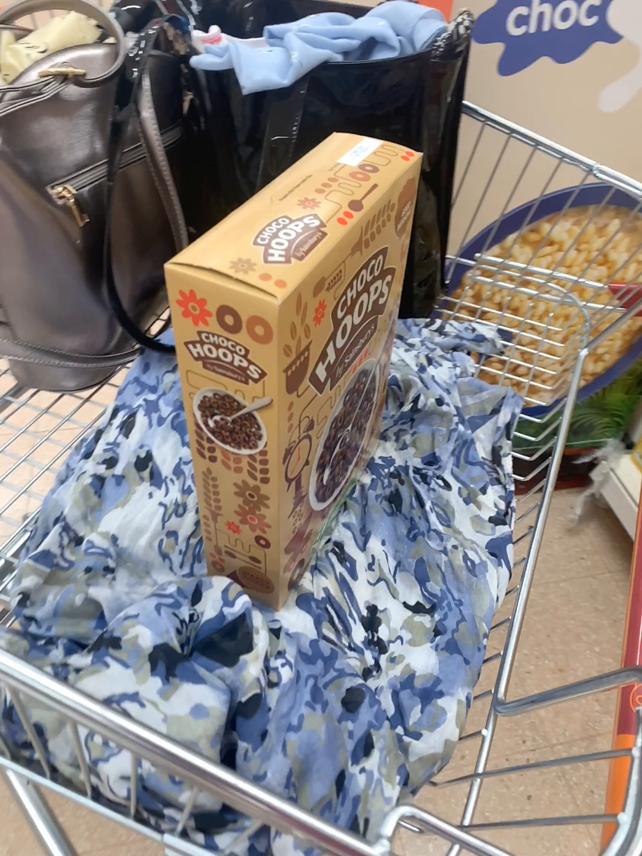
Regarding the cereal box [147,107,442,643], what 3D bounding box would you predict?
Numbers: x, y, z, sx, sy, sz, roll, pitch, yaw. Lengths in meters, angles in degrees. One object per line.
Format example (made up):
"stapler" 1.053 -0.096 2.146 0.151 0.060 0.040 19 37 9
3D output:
"cereal box" -0.008 -0.031 0.460 0.070 0.297 0.222 20 45 16
